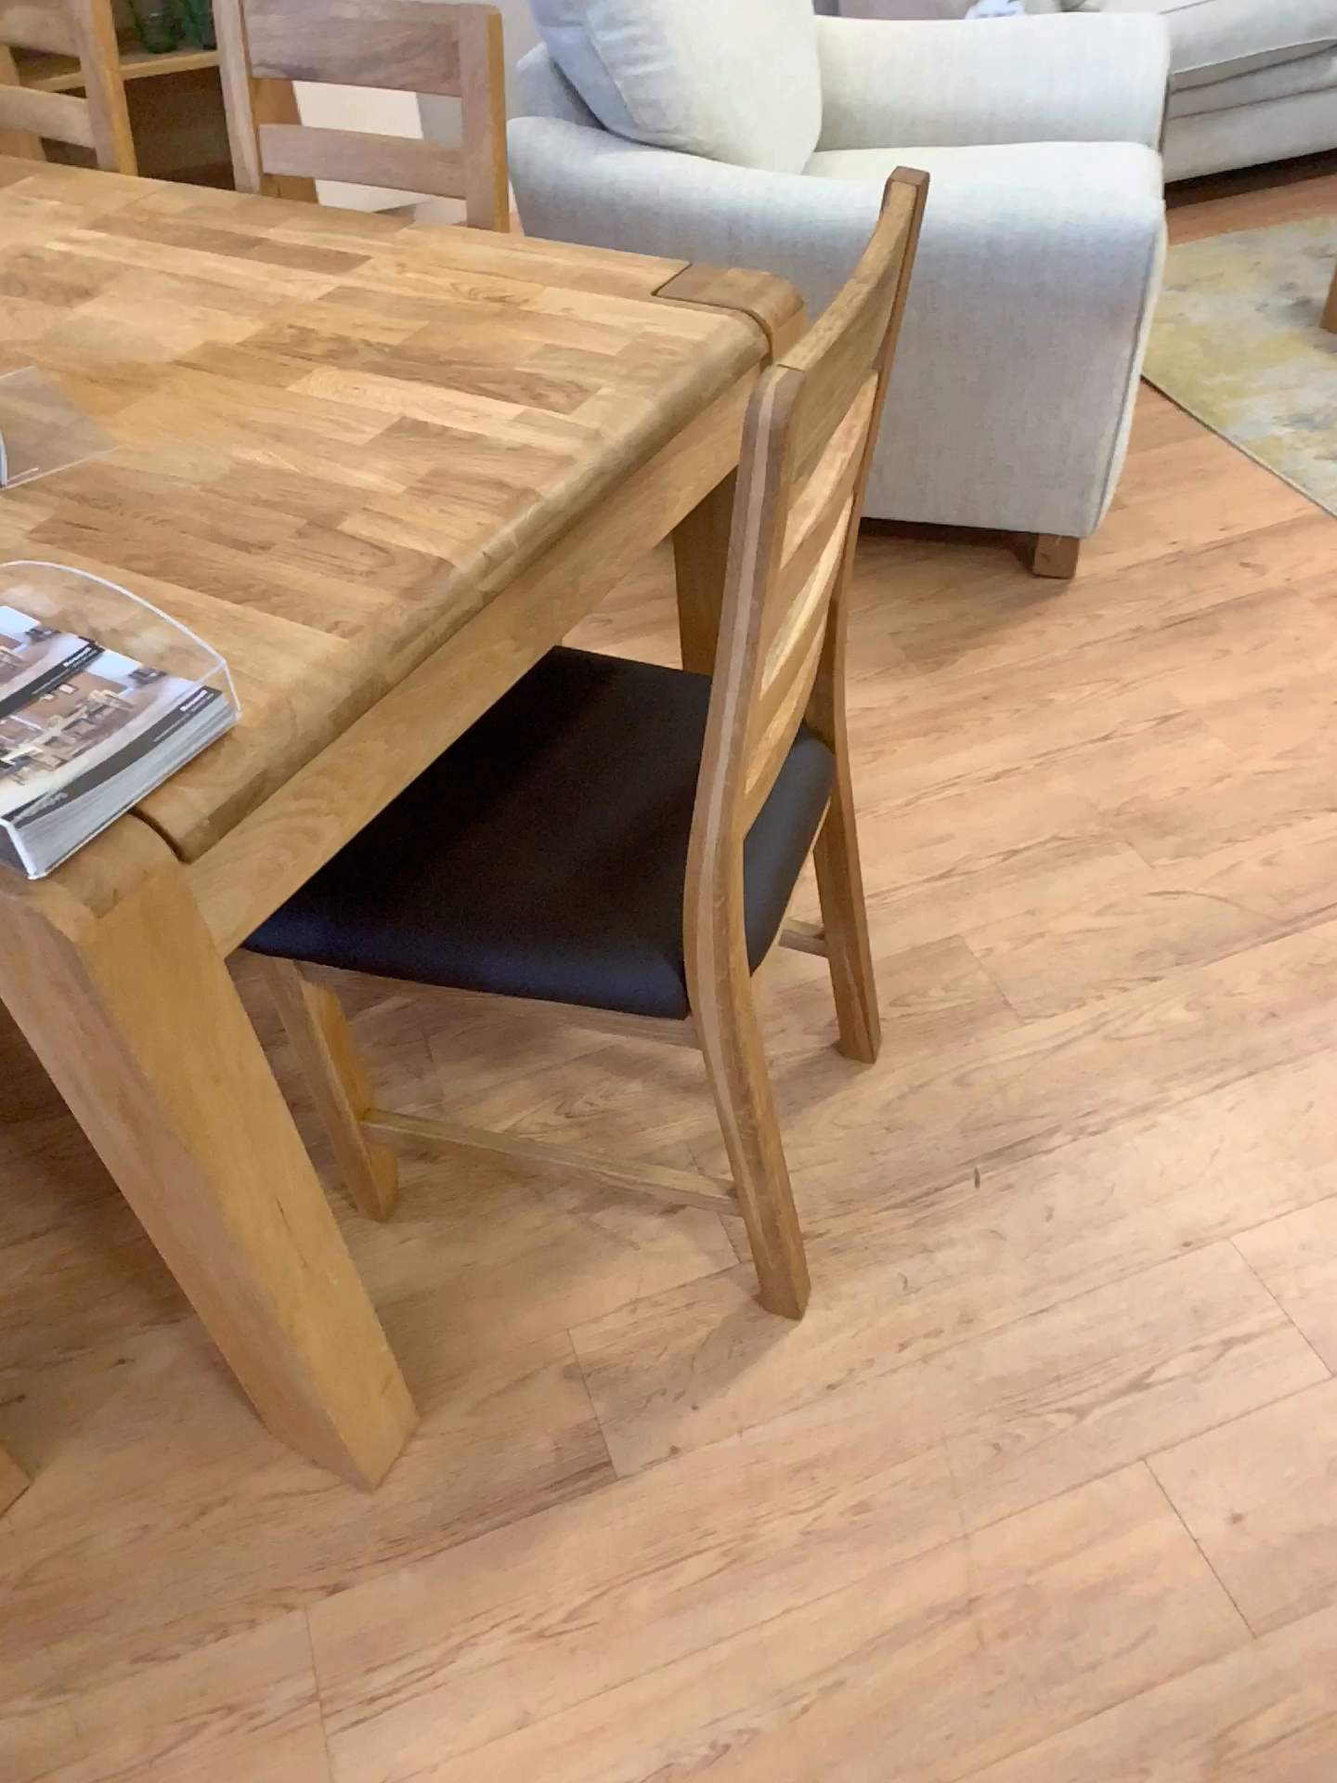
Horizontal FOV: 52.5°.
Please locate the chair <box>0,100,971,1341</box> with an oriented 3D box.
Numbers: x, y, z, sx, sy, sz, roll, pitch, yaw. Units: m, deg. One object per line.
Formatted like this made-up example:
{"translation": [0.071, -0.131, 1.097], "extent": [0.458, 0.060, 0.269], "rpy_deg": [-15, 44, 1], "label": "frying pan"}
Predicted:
{"translation": [-0.080, -0.099, 1.169], "extent": [0.518, 0.917, 0.424], "rpy_deg": [12, 47, 17], "label": "chair"}
